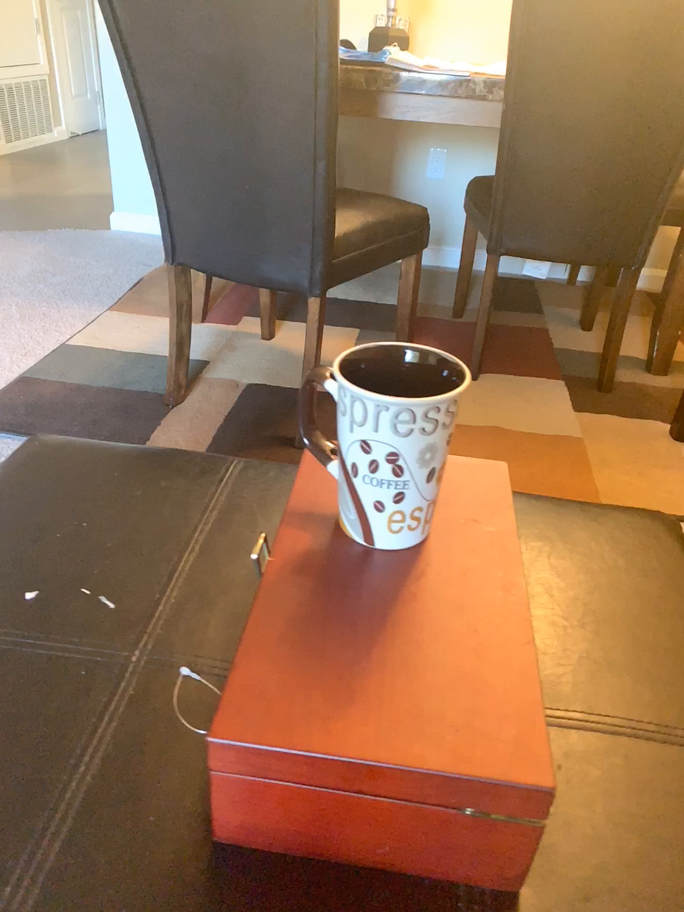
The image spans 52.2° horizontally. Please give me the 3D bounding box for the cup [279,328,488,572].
[{"bbox_3d":[0.026,-0.008,0.465,0.100,0.109,0.090,19,34,22],"label":"cup"}]
